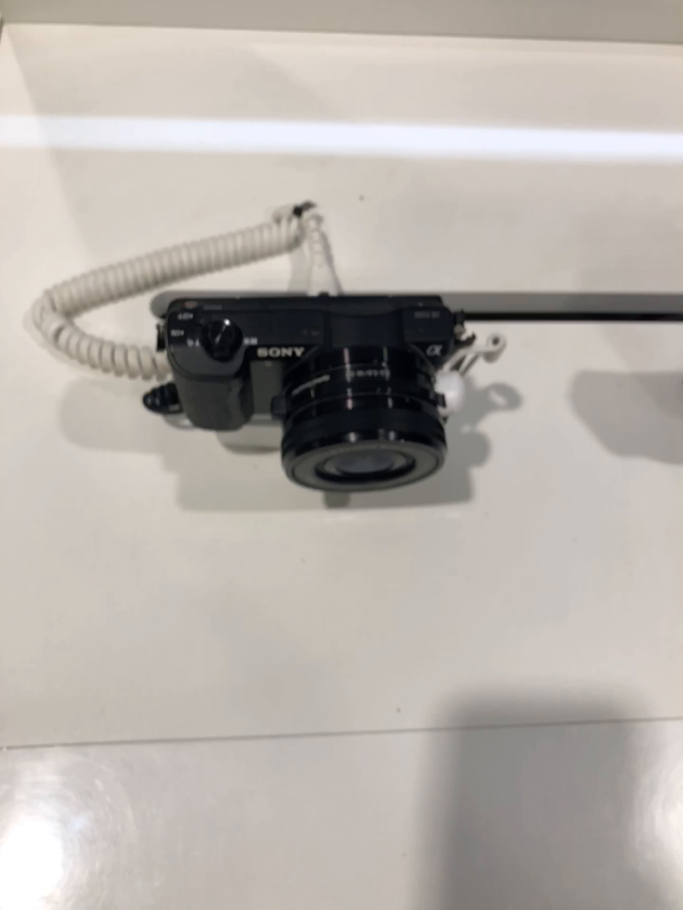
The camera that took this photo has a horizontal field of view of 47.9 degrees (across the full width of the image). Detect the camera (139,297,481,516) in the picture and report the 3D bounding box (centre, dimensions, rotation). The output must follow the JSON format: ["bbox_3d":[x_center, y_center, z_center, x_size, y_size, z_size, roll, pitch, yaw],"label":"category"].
[{"bbox_3d":[-0.012,-0.017,0.294,0.113,0.060,0.062,-1,66,-3],"label":"camera"}]
